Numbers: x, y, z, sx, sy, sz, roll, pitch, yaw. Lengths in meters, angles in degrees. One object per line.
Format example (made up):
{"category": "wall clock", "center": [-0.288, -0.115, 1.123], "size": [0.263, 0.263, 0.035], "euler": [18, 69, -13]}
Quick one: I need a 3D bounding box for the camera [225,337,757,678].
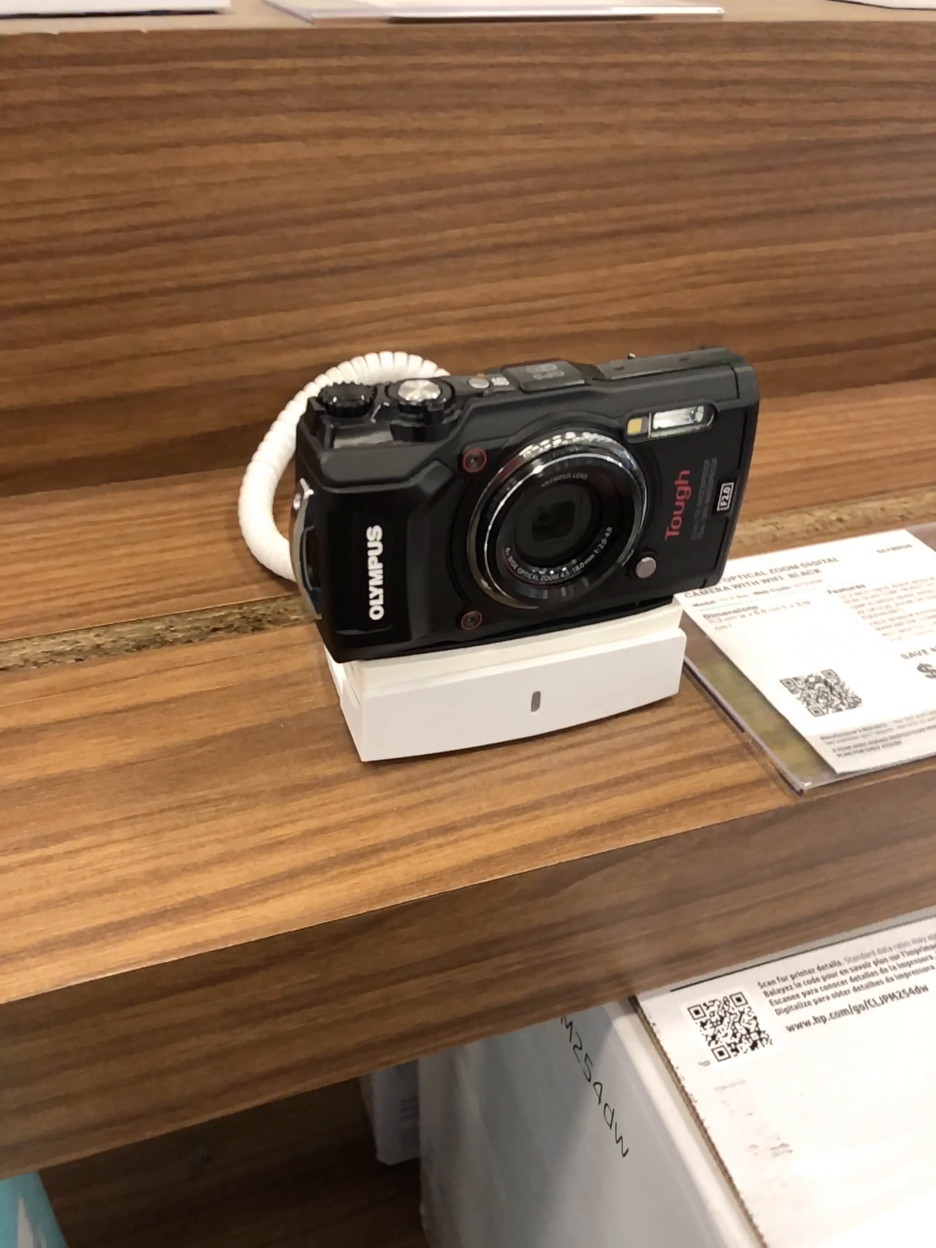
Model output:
{"category": "camera", "center": [0.006, -0.031, 0.258], "size": [0.120, 0.060, 0.030], "euler": [-11, 34, -16]}
